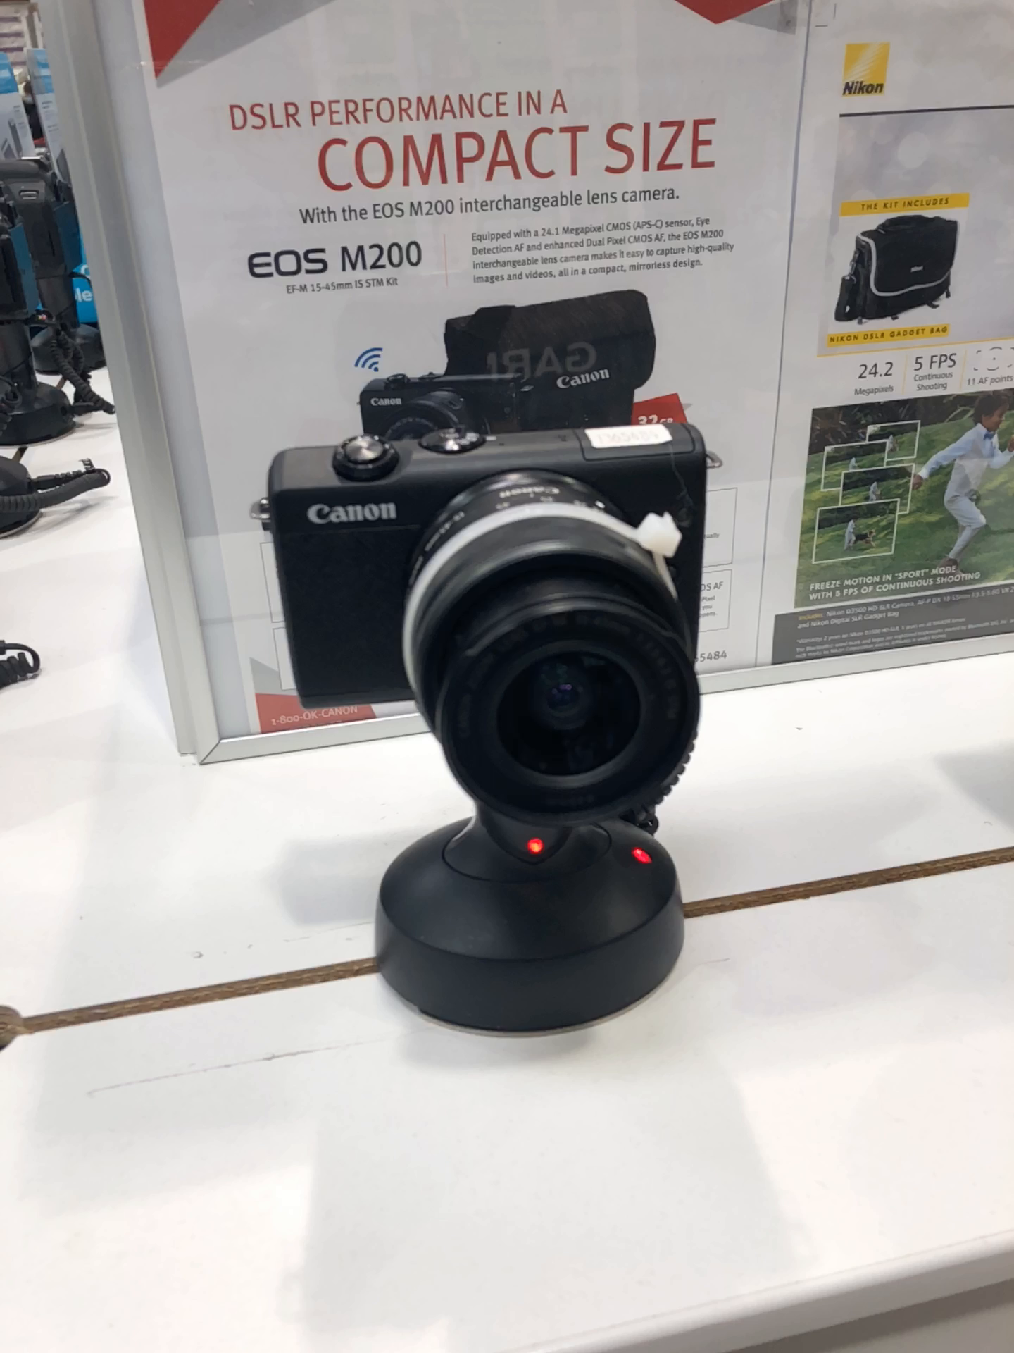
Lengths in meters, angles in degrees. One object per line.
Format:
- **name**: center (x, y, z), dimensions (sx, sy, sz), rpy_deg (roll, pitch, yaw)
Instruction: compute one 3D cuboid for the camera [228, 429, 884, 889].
- **camera**: center (0.003, -0.014, 0.265), dimensions (0.120, 0.050, 0.120), rpy_deg (-6, 27, -7)
